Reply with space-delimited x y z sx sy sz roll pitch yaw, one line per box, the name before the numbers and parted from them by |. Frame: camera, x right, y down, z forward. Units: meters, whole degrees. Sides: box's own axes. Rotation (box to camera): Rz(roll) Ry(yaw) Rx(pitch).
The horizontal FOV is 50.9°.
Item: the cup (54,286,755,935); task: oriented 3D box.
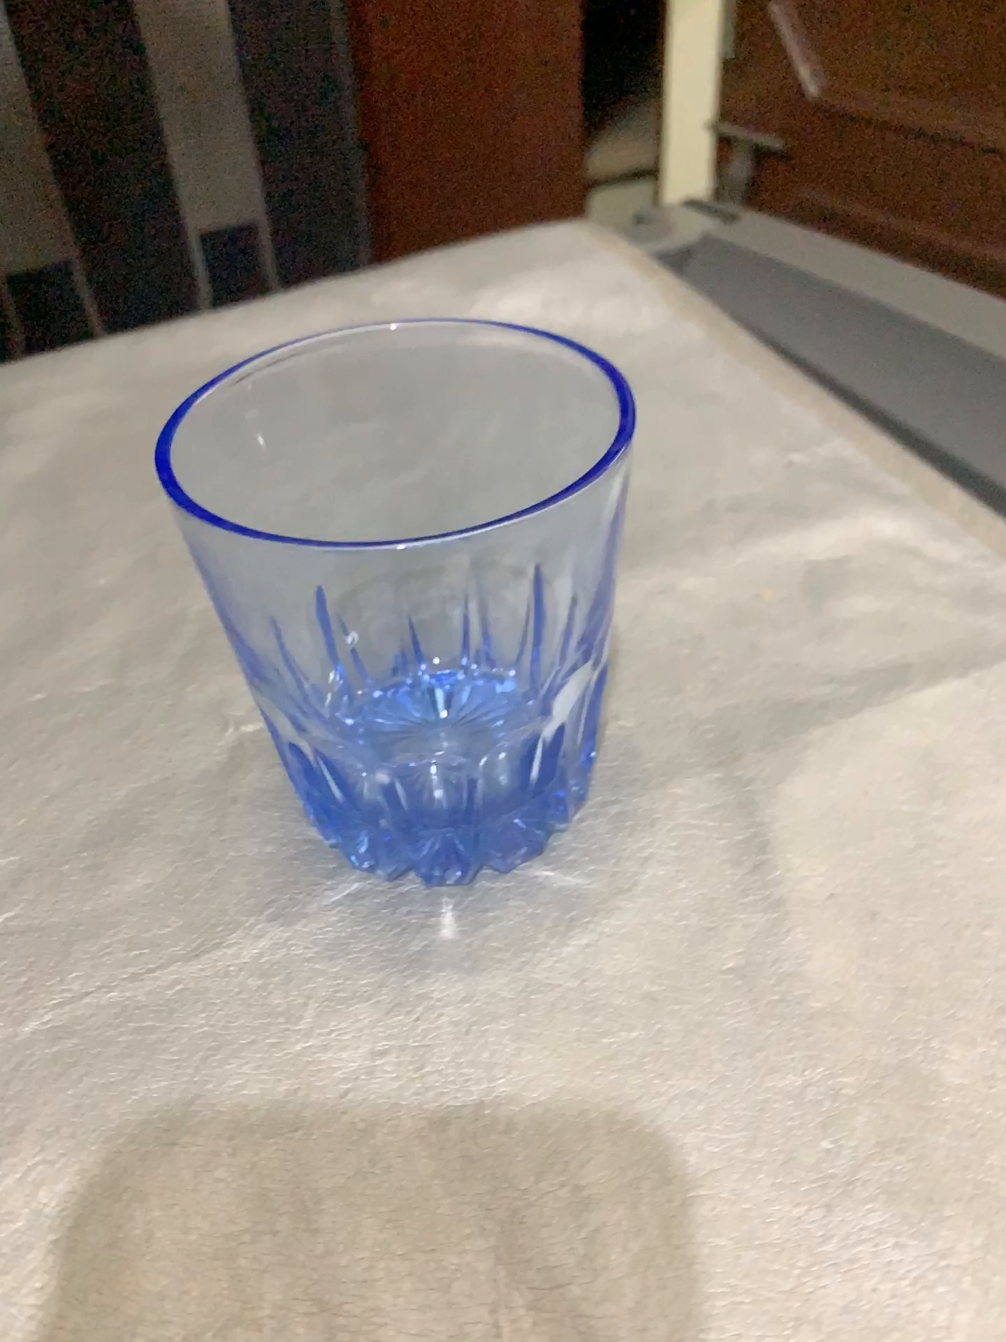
cup | -0.008 -0.018 0.197 0.090 0.070 0.090 -2 39 2
